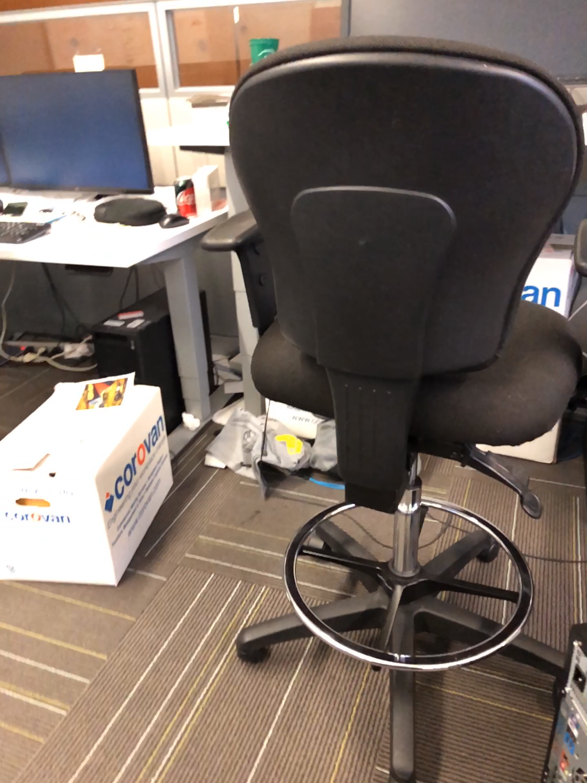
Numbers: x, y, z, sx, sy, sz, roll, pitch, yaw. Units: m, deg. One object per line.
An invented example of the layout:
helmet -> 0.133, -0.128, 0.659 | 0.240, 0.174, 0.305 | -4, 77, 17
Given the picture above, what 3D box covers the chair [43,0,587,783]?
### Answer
chair -> 0.198, 0.017, 1.112 | 0.640, 1.134, 0.733 | 10, 29, 24
